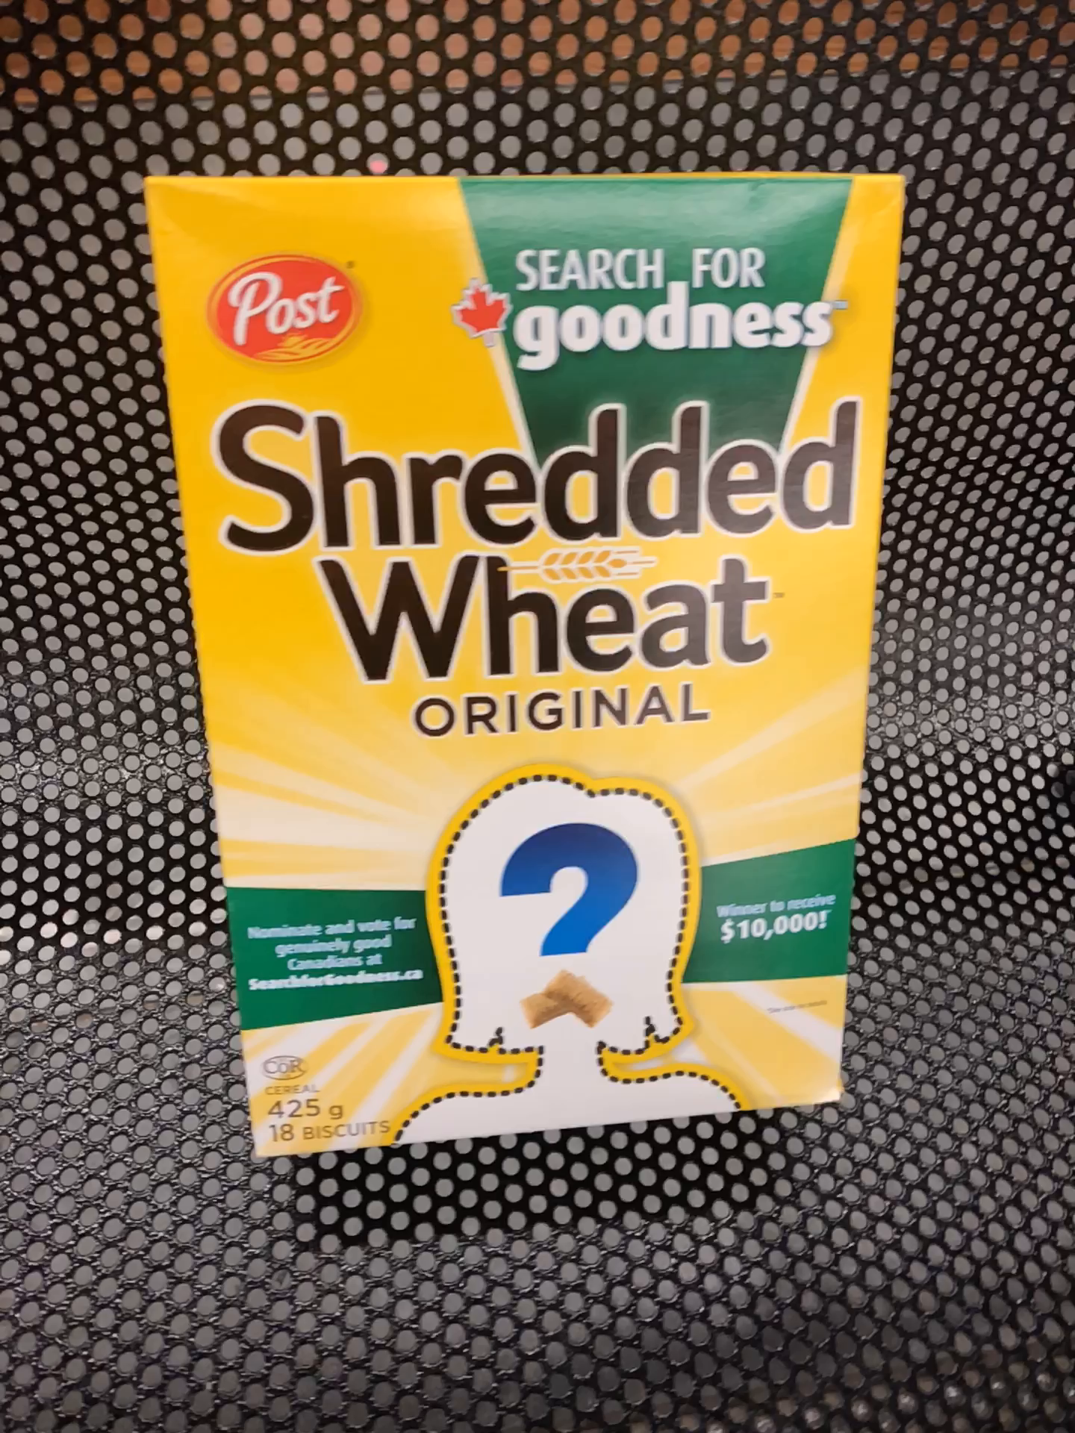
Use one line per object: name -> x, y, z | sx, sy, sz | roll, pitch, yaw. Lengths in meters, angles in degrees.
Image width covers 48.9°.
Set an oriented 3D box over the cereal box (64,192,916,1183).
cereal box -> -0.009, -0.009, 0.377 | 0.210, 0.279, 0.090 | -4, 19, -7
